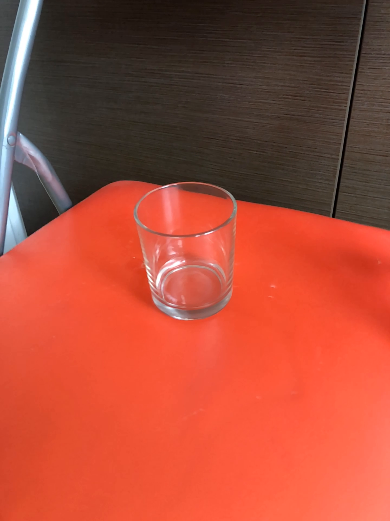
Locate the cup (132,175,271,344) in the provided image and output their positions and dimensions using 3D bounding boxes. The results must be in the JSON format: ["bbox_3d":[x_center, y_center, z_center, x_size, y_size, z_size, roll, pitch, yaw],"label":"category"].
[{"bbox_3d":[0.002,-0.004,0.320,0.077,0.082,0.081,-2,37,1],"label":"cup"}]
